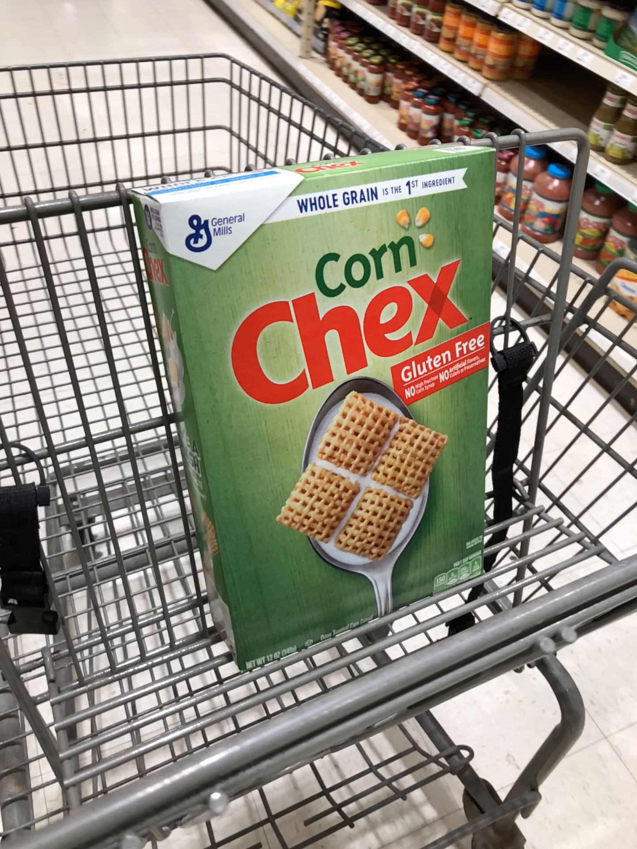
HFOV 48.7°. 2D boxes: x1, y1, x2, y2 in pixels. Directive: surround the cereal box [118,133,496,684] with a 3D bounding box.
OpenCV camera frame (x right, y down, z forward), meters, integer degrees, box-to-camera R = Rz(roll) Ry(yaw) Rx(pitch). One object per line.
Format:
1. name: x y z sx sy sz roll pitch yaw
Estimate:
1. cereal box: 0.010 -0.008 0.450 0.200 0.310 0.060 -16 27 -21
